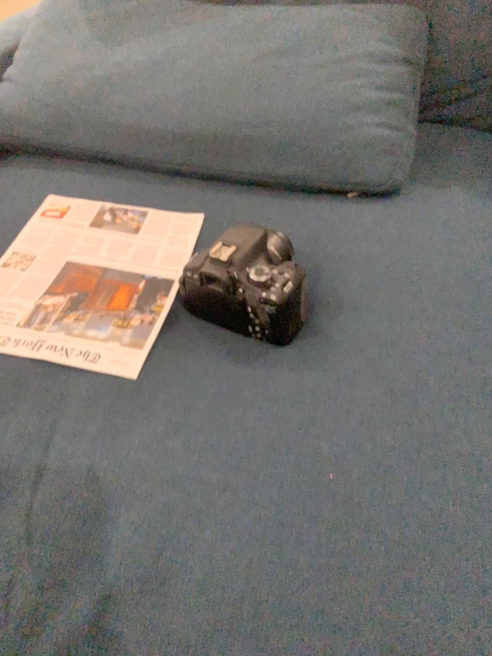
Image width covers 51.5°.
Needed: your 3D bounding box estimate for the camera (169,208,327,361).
[{"bbox_3d":[0.006,-0.055,0.602,0.140,0.100,0.110,20,49,23],"label":"camera"}]
